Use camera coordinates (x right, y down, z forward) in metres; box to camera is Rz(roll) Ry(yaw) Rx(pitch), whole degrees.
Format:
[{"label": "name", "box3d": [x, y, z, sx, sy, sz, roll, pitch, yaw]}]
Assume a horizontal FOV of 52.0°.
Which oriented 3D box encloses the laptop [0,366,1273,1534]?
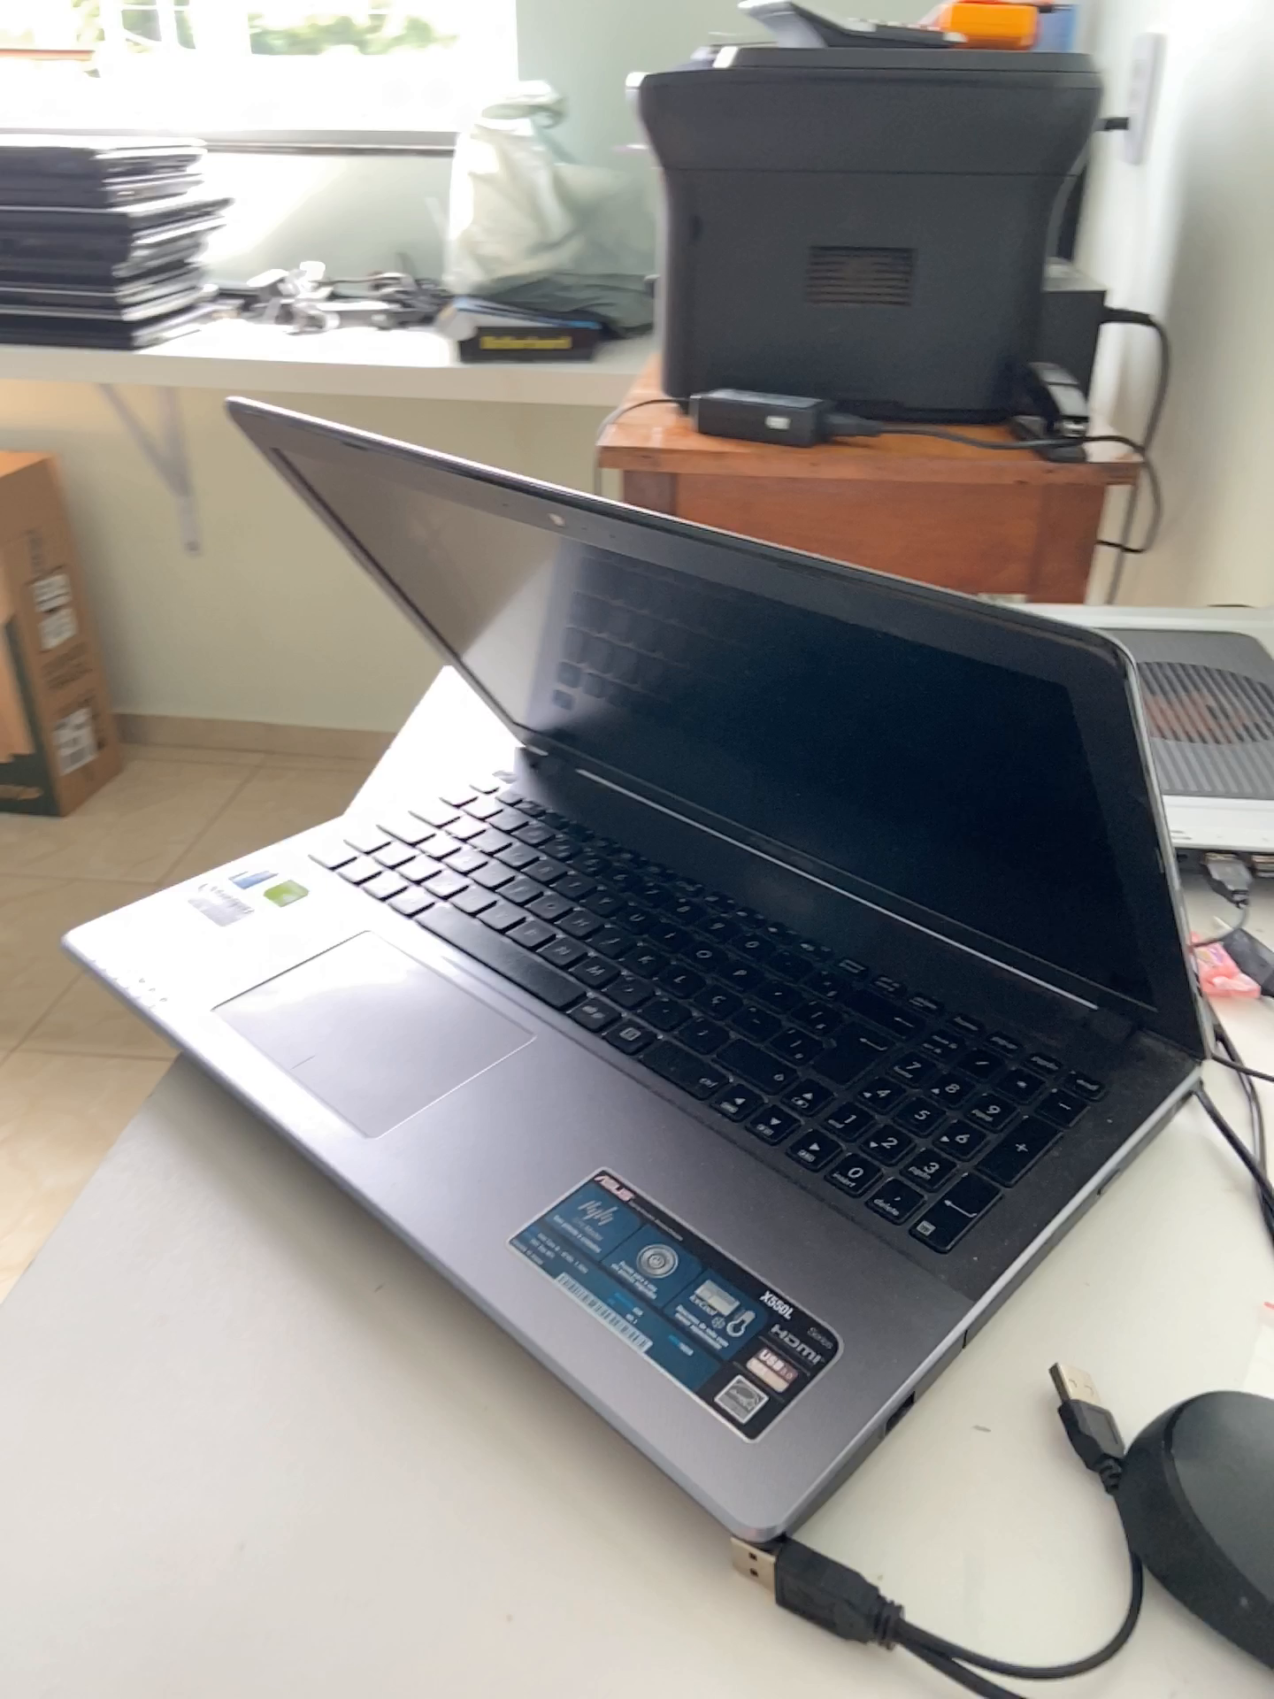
[{"label": "laptop", "box3d": [-0.018, -0.028, 0.450, 0.365, 0.190, 0.246, 26, 39, 37]}]
